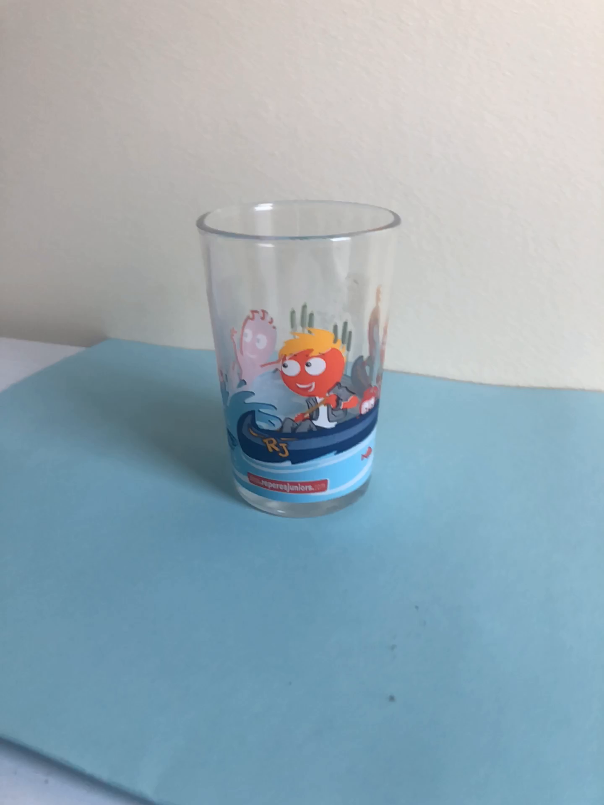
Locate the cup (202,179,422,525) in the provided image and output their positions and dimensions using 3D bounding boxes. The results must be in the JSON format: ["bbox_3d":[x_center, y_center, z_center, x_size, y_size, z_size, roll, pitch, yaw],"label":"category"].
[{"bbox_3d":[0.000,-0.020,0.230,0.060,0.099,0.060,-1,25,0],"label":"cup"}]
